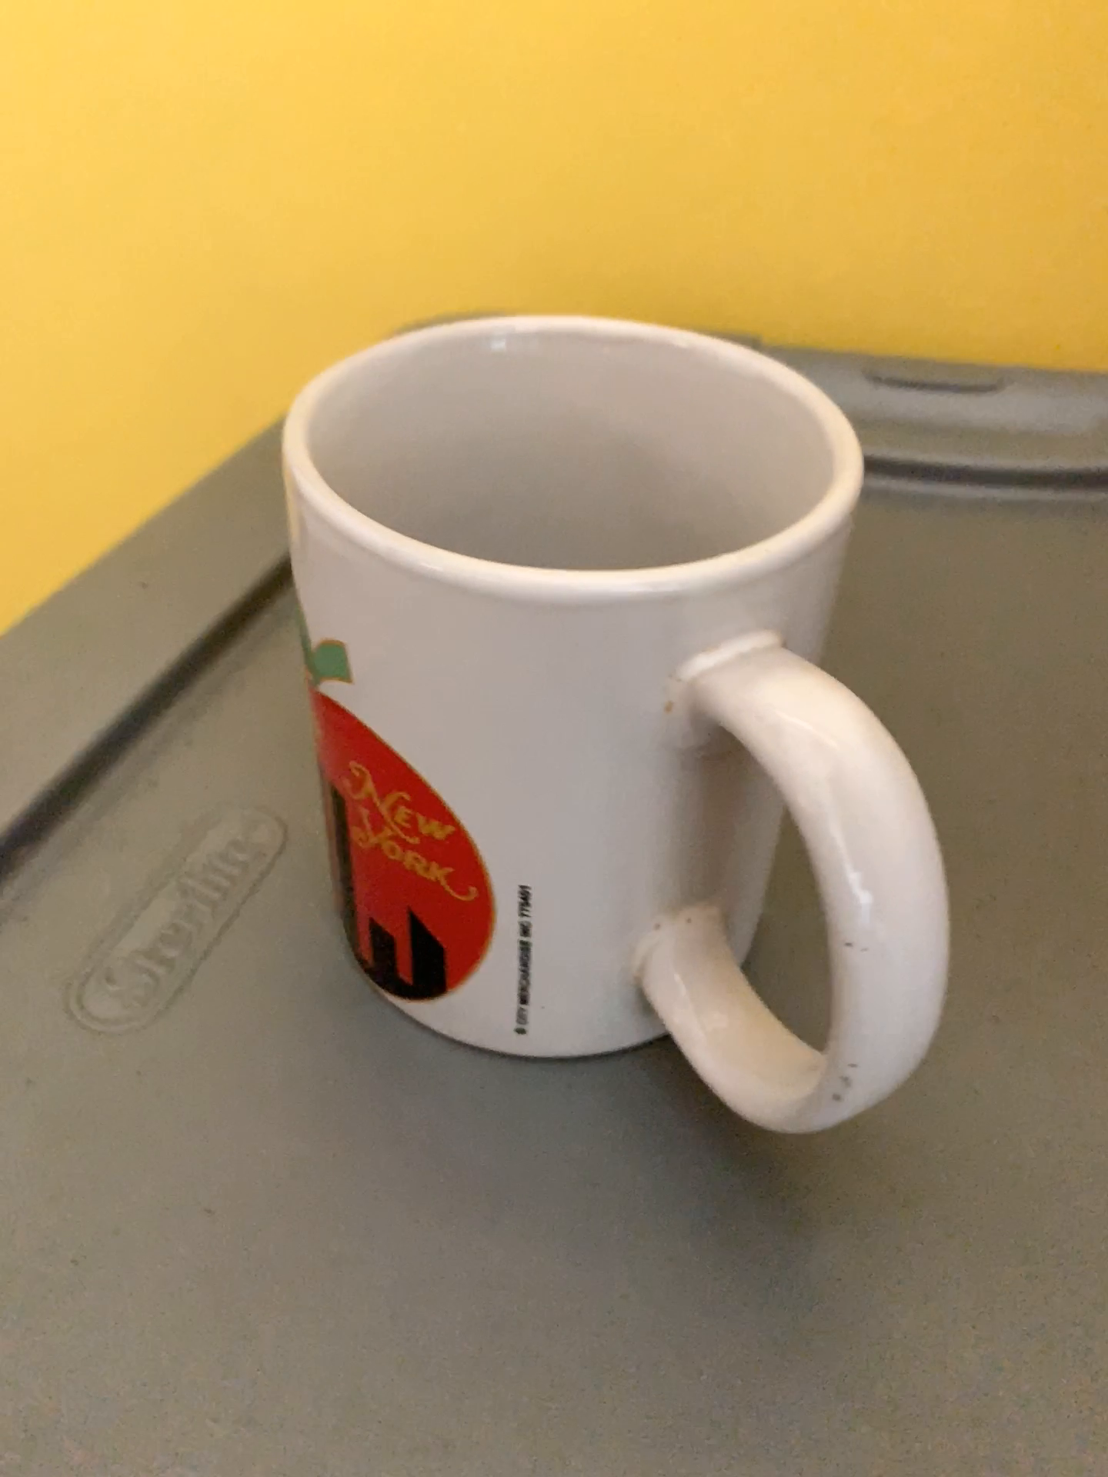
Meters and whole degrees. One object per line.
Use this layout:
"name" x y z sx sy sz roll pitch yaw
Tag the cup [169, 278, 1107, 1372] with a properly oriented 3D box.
"cup" 0.011 0.001 0.187 0.097 0.095 0.119 -18 45 -22
